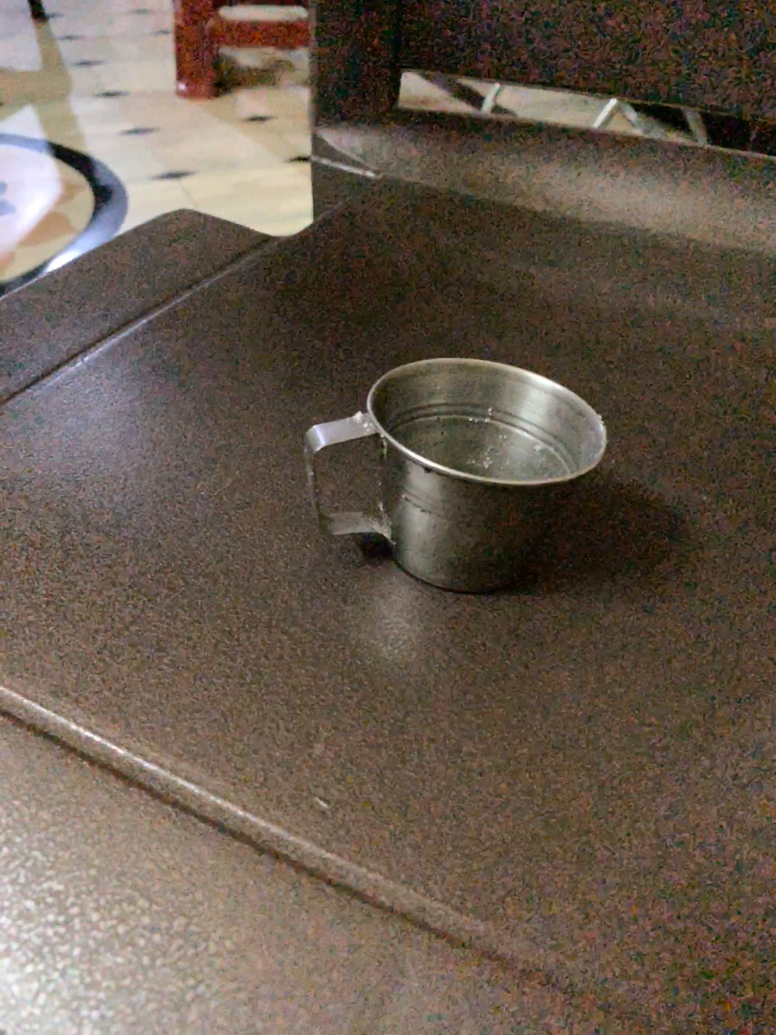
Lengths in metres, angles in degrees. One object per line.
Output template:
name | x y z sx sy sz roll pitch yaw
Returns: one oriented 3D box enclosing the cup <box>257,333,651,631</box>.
cup | 0.011 -0.012 0.206 0.080 0.040 0.060 -6 44 -15
